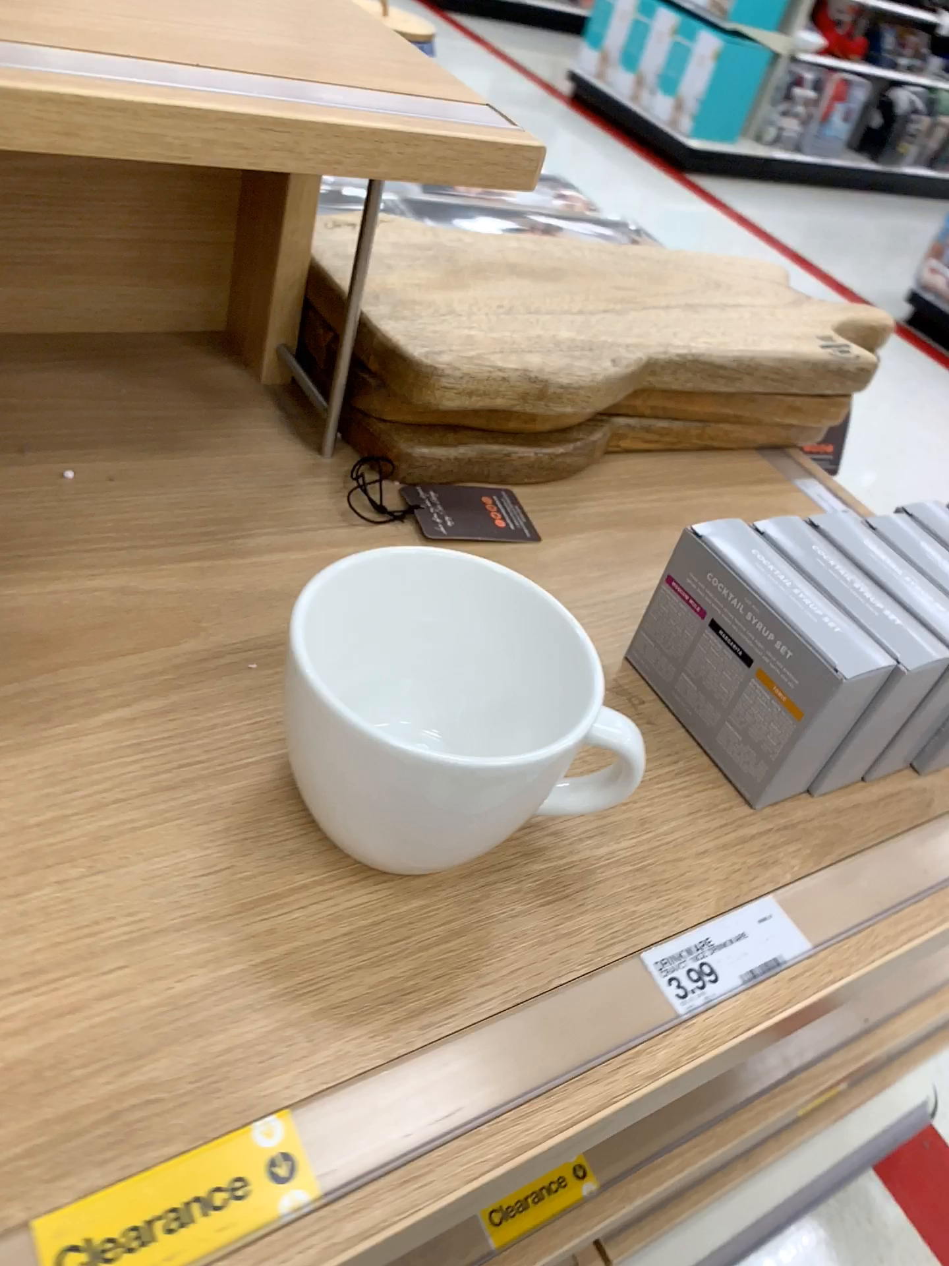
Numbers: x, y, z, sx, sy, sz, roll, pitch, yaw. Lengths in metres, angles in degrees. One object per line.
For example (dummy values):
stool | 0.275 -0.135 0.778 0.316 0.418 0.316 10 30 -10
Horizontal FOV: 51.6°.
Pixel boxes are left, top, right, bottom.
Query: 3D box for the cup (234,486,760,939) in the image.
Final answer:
cup | 0.001 0.027 0.332 0.140 0.080 0.111 9 41 -12
